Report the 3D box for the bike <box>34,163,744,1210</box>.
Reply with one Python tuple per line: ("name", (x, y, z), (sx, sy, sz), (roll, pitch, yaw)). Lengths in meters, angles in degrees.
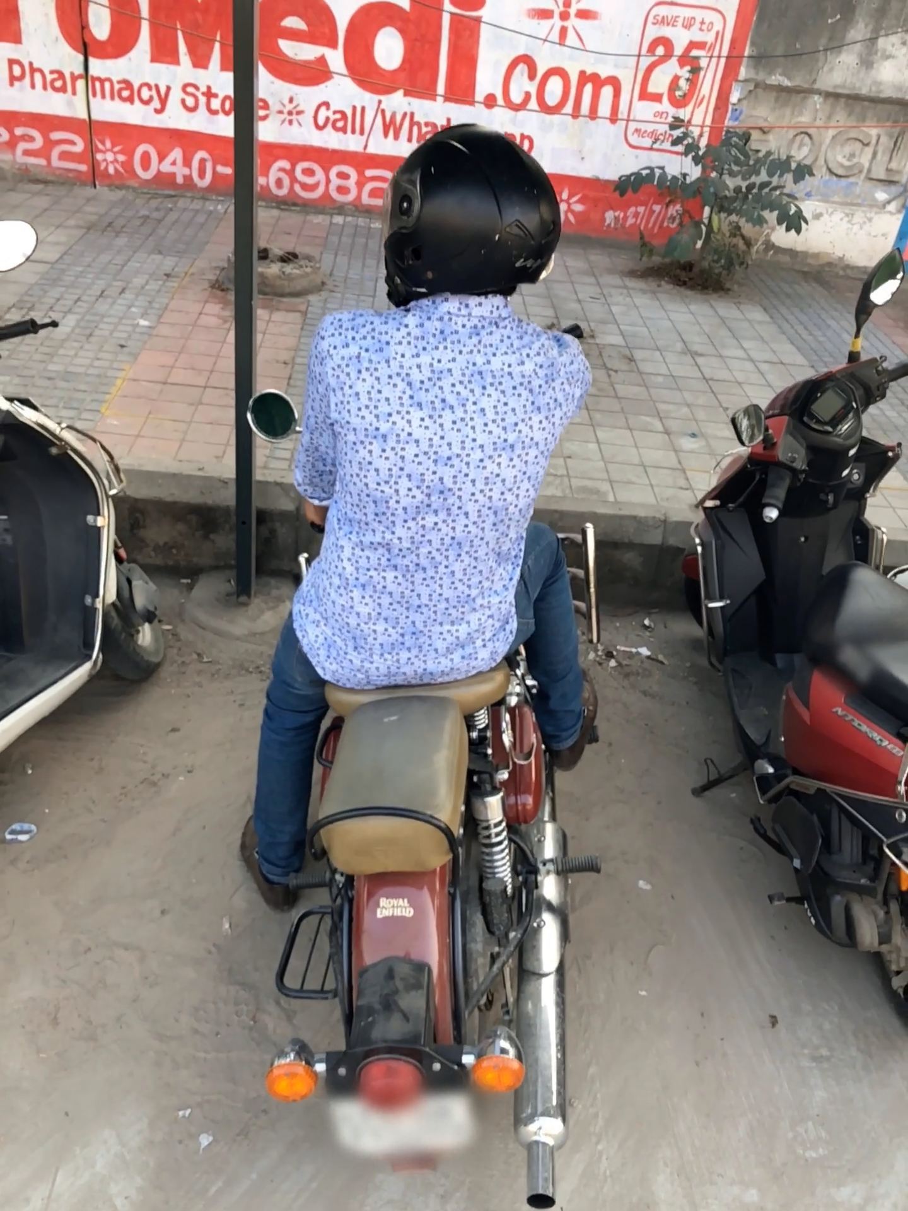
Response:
("bike", (-0.127, 0.098, 2.028), (0.792, 1.255, 1.558), (6, 39, -3))
